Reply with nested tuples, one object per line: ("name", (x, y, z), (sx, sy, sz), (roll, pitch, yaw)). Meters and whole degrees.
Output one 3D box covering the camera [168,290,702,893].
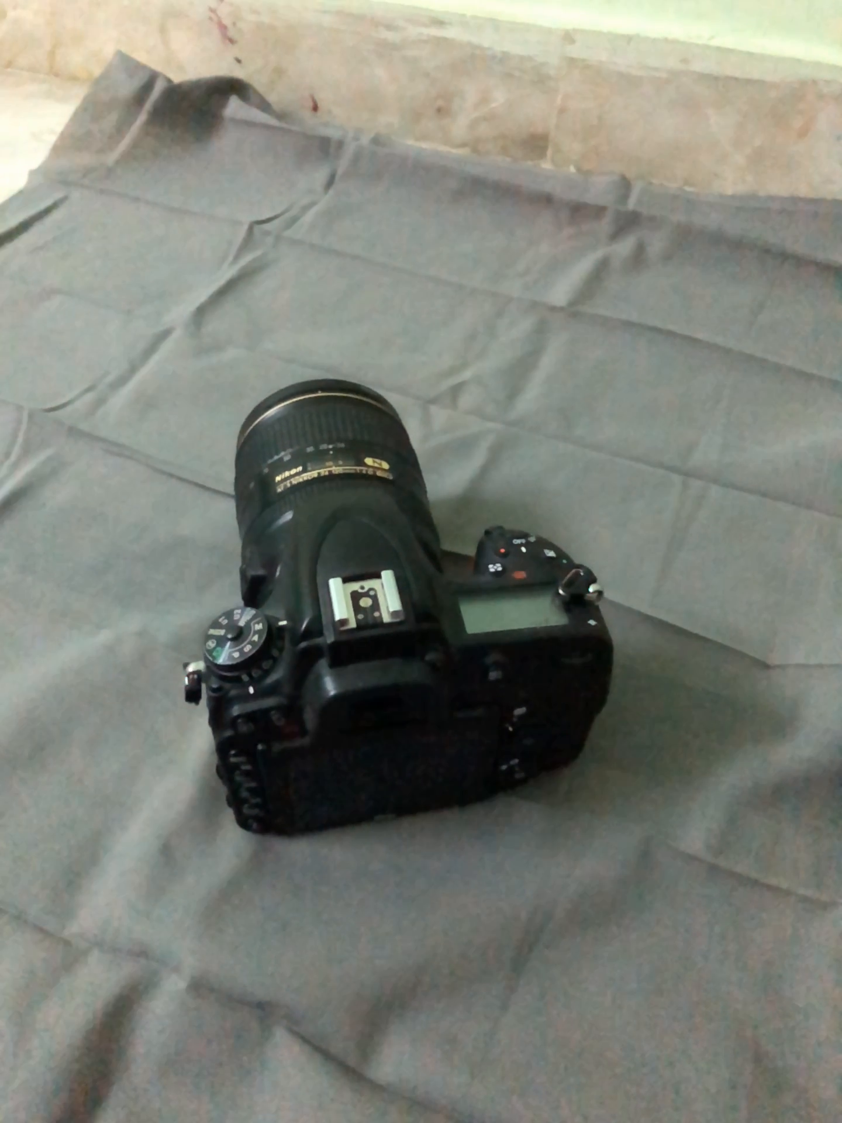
("camera", (-0.009, 0.007, 0.354), (0.146, 0.134, 0.164), (-7, 49, -7))
